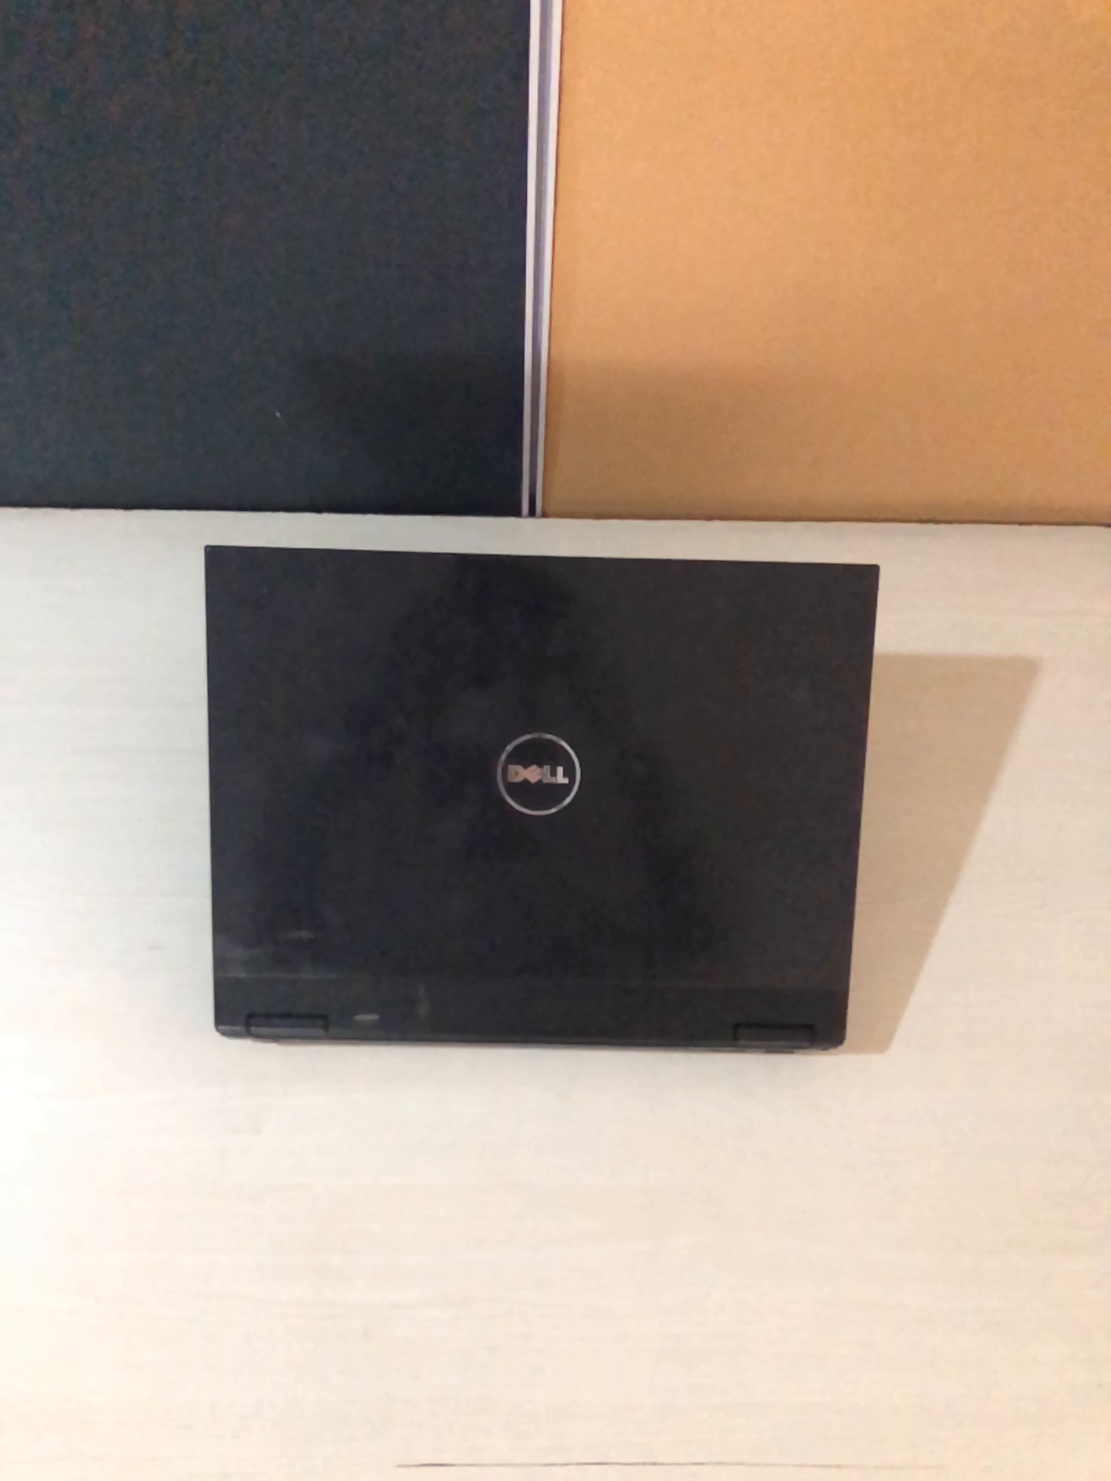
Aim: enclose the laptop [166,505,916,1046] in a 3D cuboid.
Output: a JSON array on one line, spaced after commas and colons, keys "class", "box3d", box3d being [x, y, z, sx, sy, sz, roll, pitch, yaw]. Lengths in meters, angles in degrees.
[{"class": "laptop", "box3d": [-0.005, 0.021, 0.594, 0.302, 0.127, 0.225, 1, 69, -1]}]
